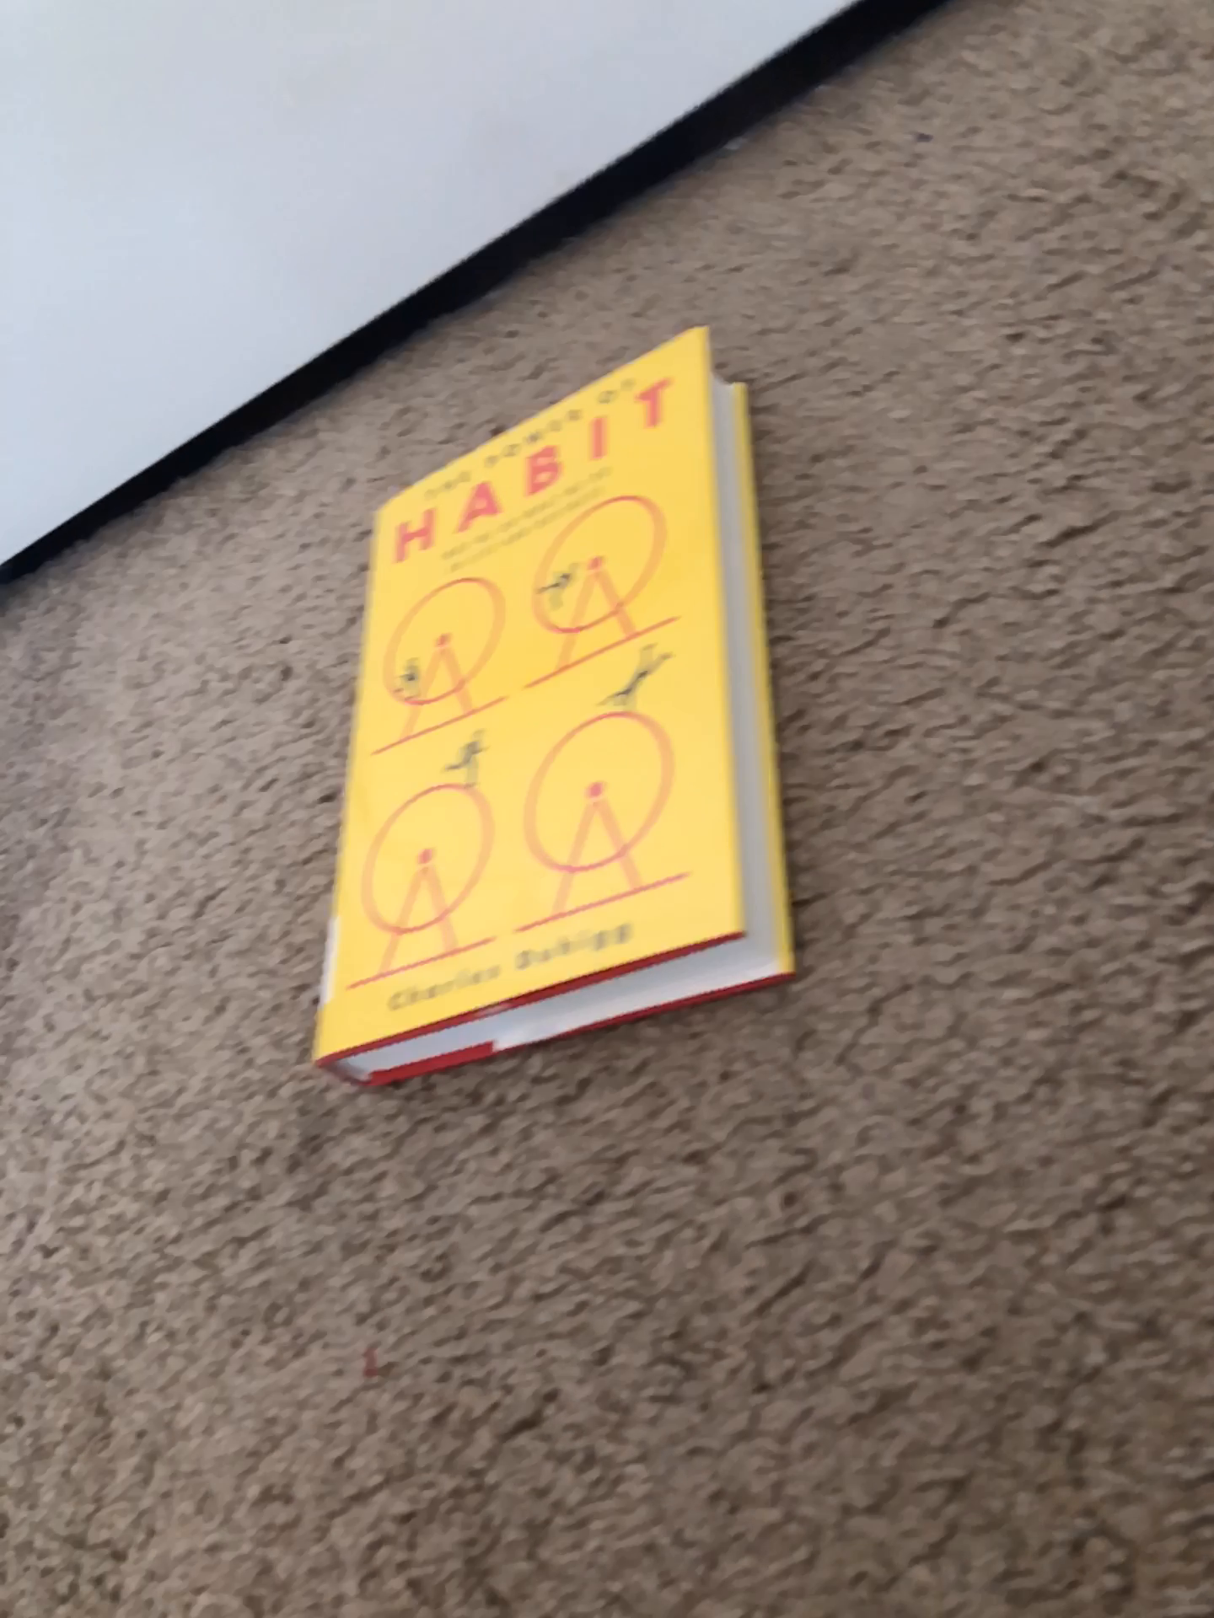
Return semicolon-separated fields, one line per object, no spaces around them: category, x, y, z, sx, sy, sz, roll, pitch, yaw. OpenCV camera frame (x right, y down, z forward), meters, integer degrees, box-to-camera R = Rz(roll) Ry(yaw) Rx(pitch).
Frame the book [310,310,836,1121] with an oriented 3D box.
book;-0.015;-0.035;0.458;0.165;0.040;0.251;-21;53;30
